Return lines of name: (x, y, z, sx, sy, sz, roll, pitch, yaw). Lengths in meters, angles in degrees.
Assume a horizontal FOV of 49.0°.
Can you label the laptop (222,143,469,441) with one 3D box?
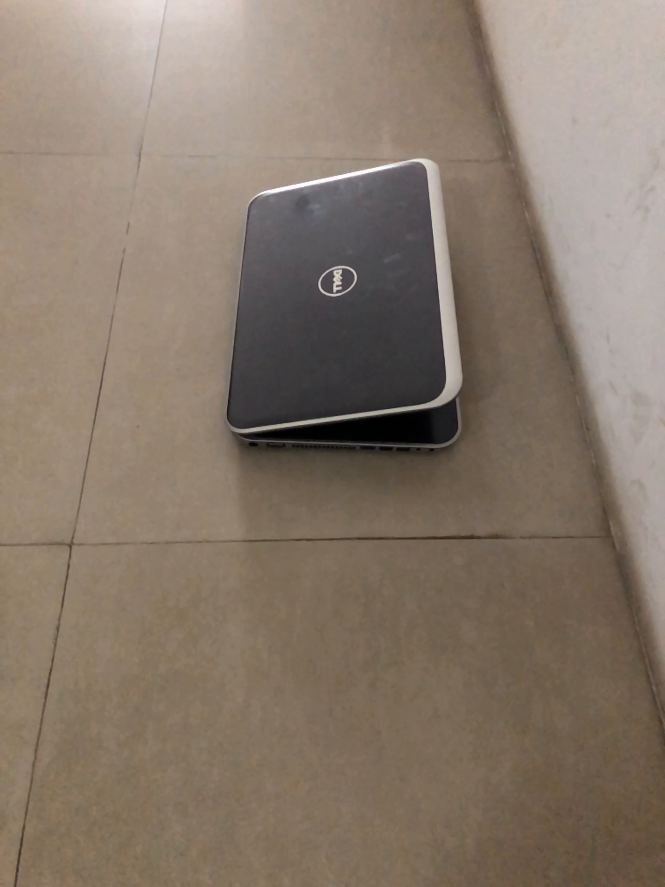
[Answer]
laptop: (0.012, -0.182, 0.817, 0.234, 0.079, 0.362, 1, 59, 0)
